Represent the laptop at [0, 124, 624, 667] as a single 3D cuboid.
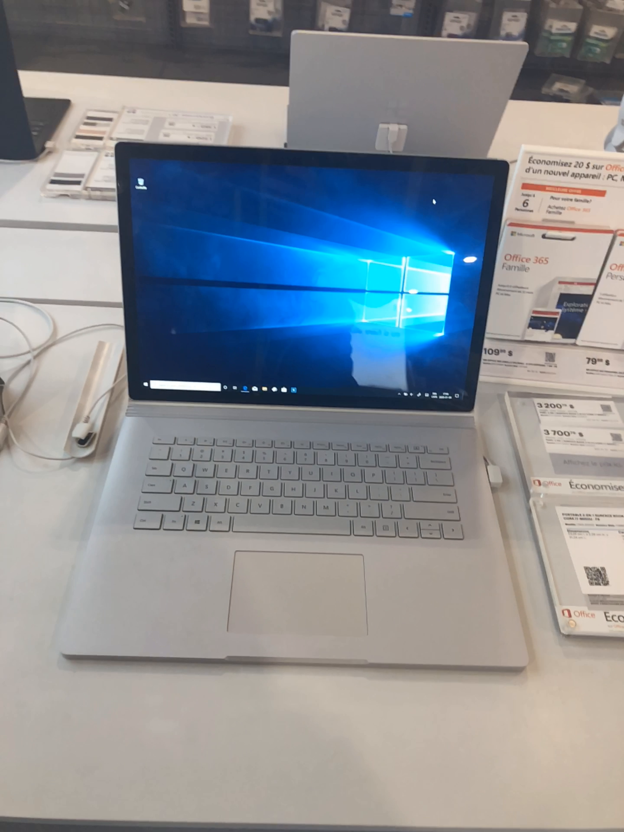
[{"bbox_3d":[-0.007,-0.033,0.552,0.338,0.207,0.366,2,48,-3],"label":"laptop"}]
